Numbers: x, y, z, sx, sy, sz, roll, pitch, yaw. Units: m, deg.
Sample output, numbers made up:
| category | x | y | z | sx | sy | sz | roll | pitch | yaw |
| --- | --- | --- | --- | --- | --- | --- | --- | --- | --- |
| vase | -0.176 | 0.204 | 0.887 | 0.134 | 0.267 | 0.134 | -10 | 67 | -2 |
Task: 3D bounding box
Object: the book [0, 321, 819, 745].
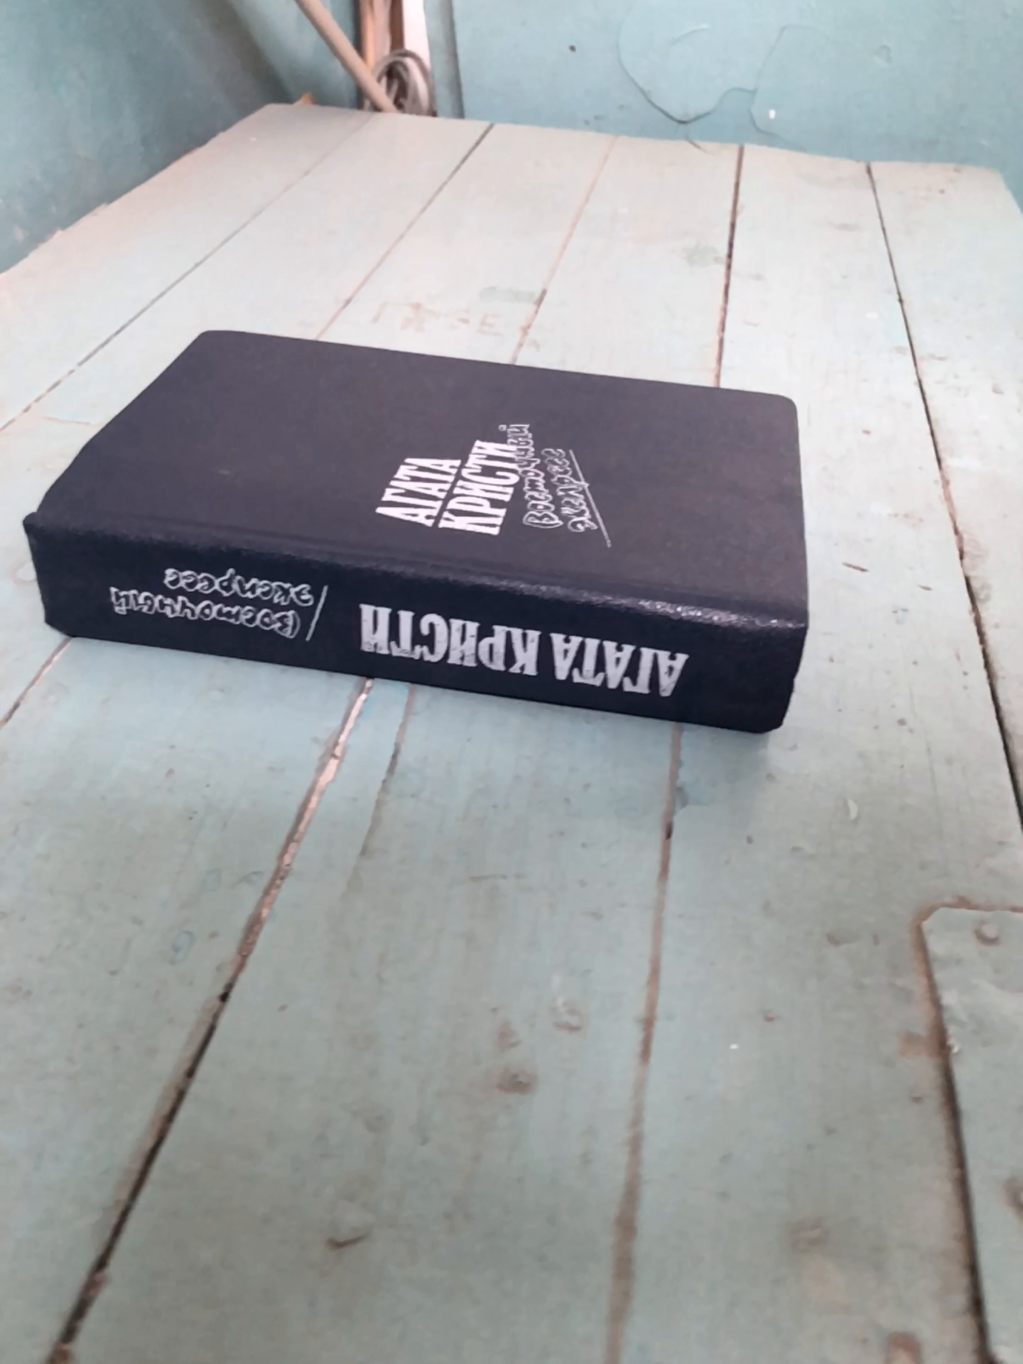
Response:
| category | x | y | z | sx | sy | sz | roll | pitch | yaw |
| --- | --- | --- | --- | --- | --- | --- | --- | --- | --- |
| book | -0.020 | -0.055 | 0.350 | 0.210 | 0.040 | 0.138 | 8 | 39 | 5 |
